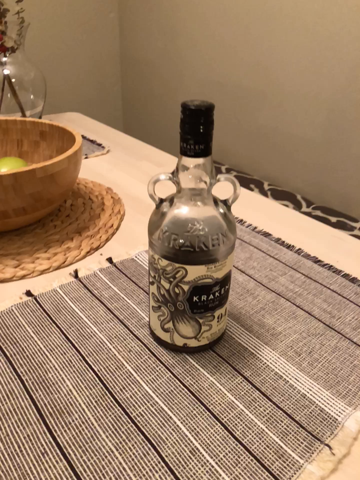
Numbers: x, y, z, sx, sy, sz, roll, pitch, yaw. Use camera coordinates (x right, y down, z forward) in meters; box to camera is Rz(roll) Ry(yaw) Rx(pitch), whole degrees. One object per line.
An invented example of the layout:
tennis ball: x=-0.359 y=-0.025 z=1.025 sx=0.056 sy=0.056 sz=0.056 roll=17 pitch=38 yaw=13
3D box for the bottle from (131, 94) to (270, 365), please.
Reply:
bottle: x=0.007 y=-0.006 z=0.397 sx=0.100 sy=0.248 sz=0.101 roll=2 pitch=30 yaw=-1
